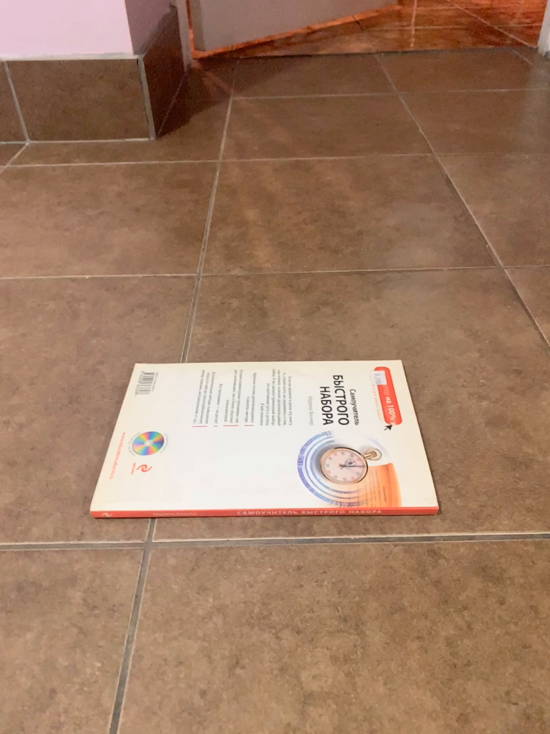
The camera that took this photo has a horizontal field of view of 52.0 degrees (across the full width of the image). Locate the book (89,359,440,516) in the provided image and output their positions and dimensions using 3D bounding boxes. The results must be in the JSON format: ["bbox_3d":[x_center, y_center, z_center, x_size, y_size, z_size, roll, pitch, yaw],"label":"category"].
[{"bbox_3d":[-0.006,0.042,0.391,0.210,0.009,0.135,-1,41,2],"label":"book"}]
